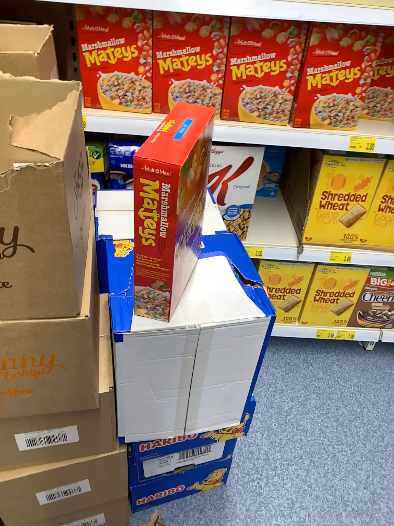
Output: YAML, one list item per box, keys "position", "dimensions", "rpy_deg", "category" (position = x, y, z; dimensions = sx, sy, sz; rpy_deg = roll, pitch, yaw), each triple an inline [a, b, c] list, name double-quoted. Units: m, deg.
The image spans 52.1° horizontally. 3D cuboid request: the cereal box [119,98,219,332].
- position: [-0.040, -0.067, 0.611]
  dimensions: [0.070, 0.287, 0.192]
  rpy_deg: [15, 42, 9]
  category: "cereal box"
